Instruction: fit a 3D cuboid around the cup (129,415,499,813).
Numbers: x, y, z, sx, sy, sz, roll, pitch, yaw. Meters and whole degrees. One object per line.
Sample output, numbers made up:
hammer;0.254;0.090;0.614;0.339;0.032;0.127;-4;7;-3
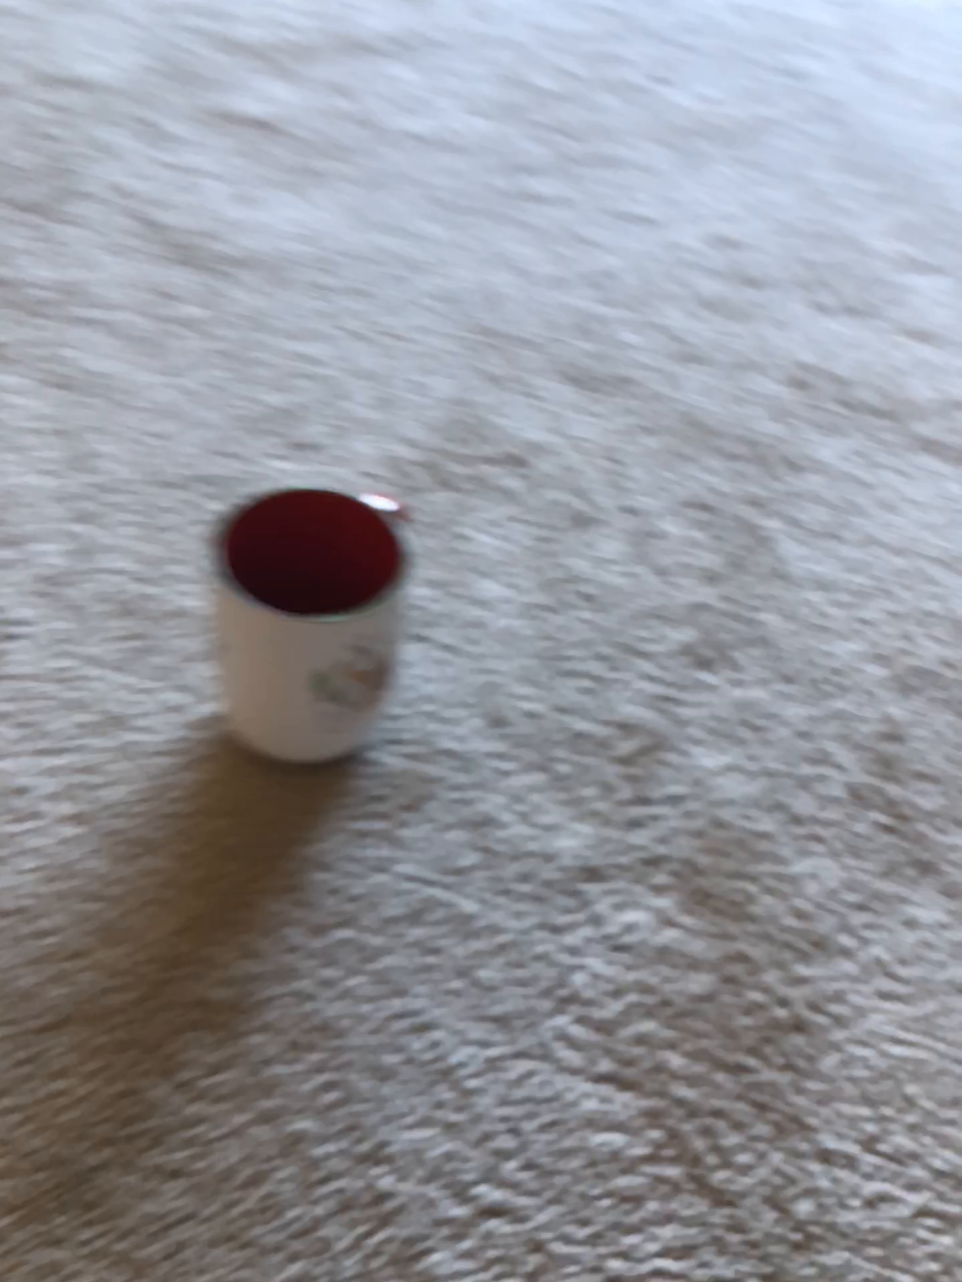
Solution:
cup;-0.073;-0.017;0.505;0.100;0.090;0.140;25;48;14
